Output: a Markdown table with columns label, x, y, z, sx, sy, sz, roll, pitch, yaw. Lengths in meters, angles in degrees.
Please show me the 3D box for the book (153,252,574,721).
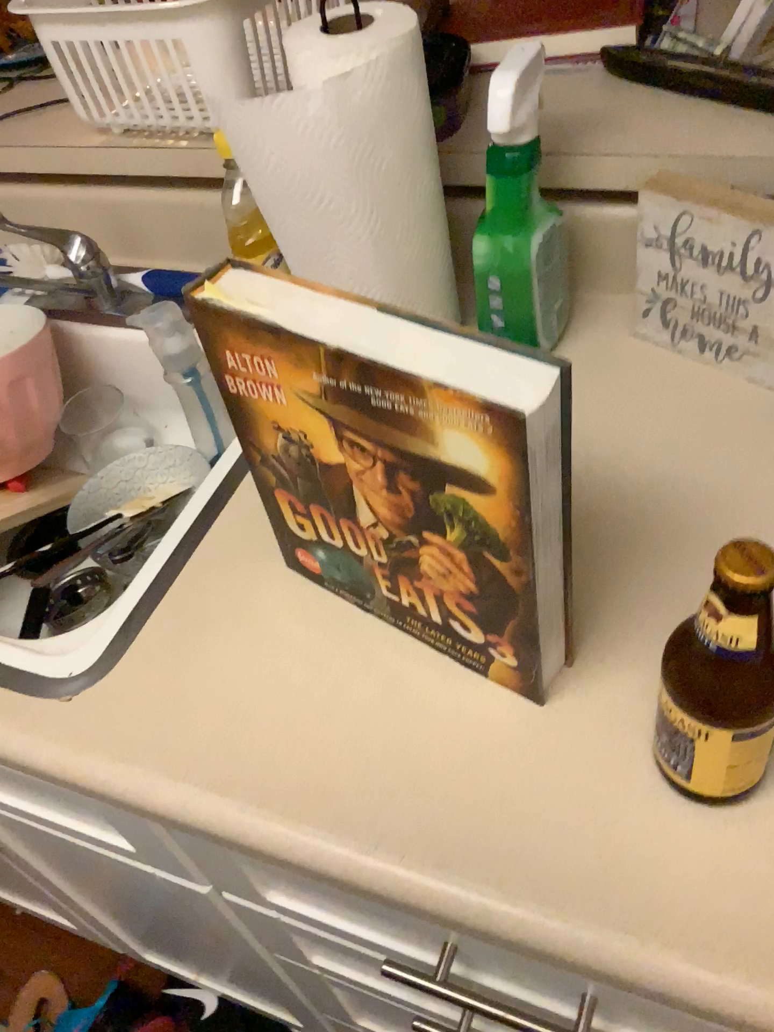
| label | x | y | z | sx | sy | sz | roll | pitch | yaw |
| --- | --- | --- | --- | --- | --- | --- | --- | --- | --- |
| book | -0.005 | -0.014 | 0.531 | 0.240 | 0.250 | 0.050 | 24 | 56 | 31 |
